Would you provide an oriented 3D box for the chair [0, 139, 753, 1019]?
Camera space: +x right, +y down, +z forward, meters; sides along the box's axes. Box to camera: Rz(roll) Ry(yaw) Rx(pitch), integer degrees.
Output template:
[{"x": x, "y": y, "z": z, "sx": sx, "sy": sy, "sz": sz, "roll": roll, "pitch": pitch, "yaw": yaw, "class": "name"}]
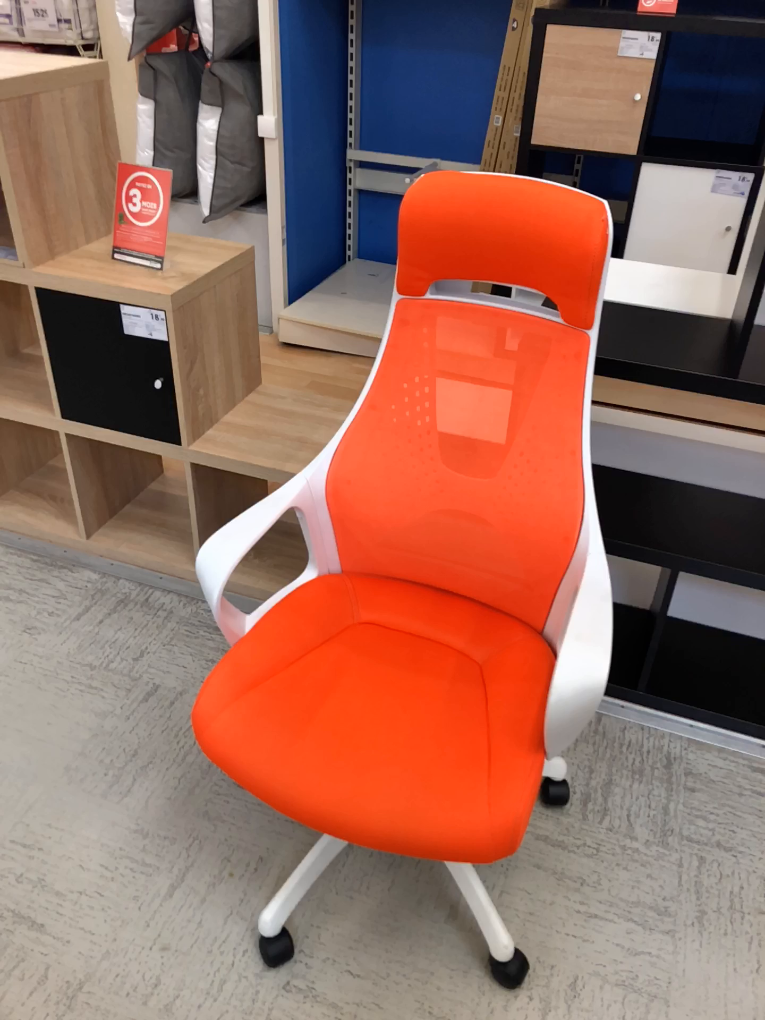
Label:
[{"x": 0.038, "y": 0.100, "z": 1.266, "sx": 0.680, "sy": 1.053, "sz": 0.755, "roll": 15, "pitch": 36, "yaw": 18, "class": "chair"}]
